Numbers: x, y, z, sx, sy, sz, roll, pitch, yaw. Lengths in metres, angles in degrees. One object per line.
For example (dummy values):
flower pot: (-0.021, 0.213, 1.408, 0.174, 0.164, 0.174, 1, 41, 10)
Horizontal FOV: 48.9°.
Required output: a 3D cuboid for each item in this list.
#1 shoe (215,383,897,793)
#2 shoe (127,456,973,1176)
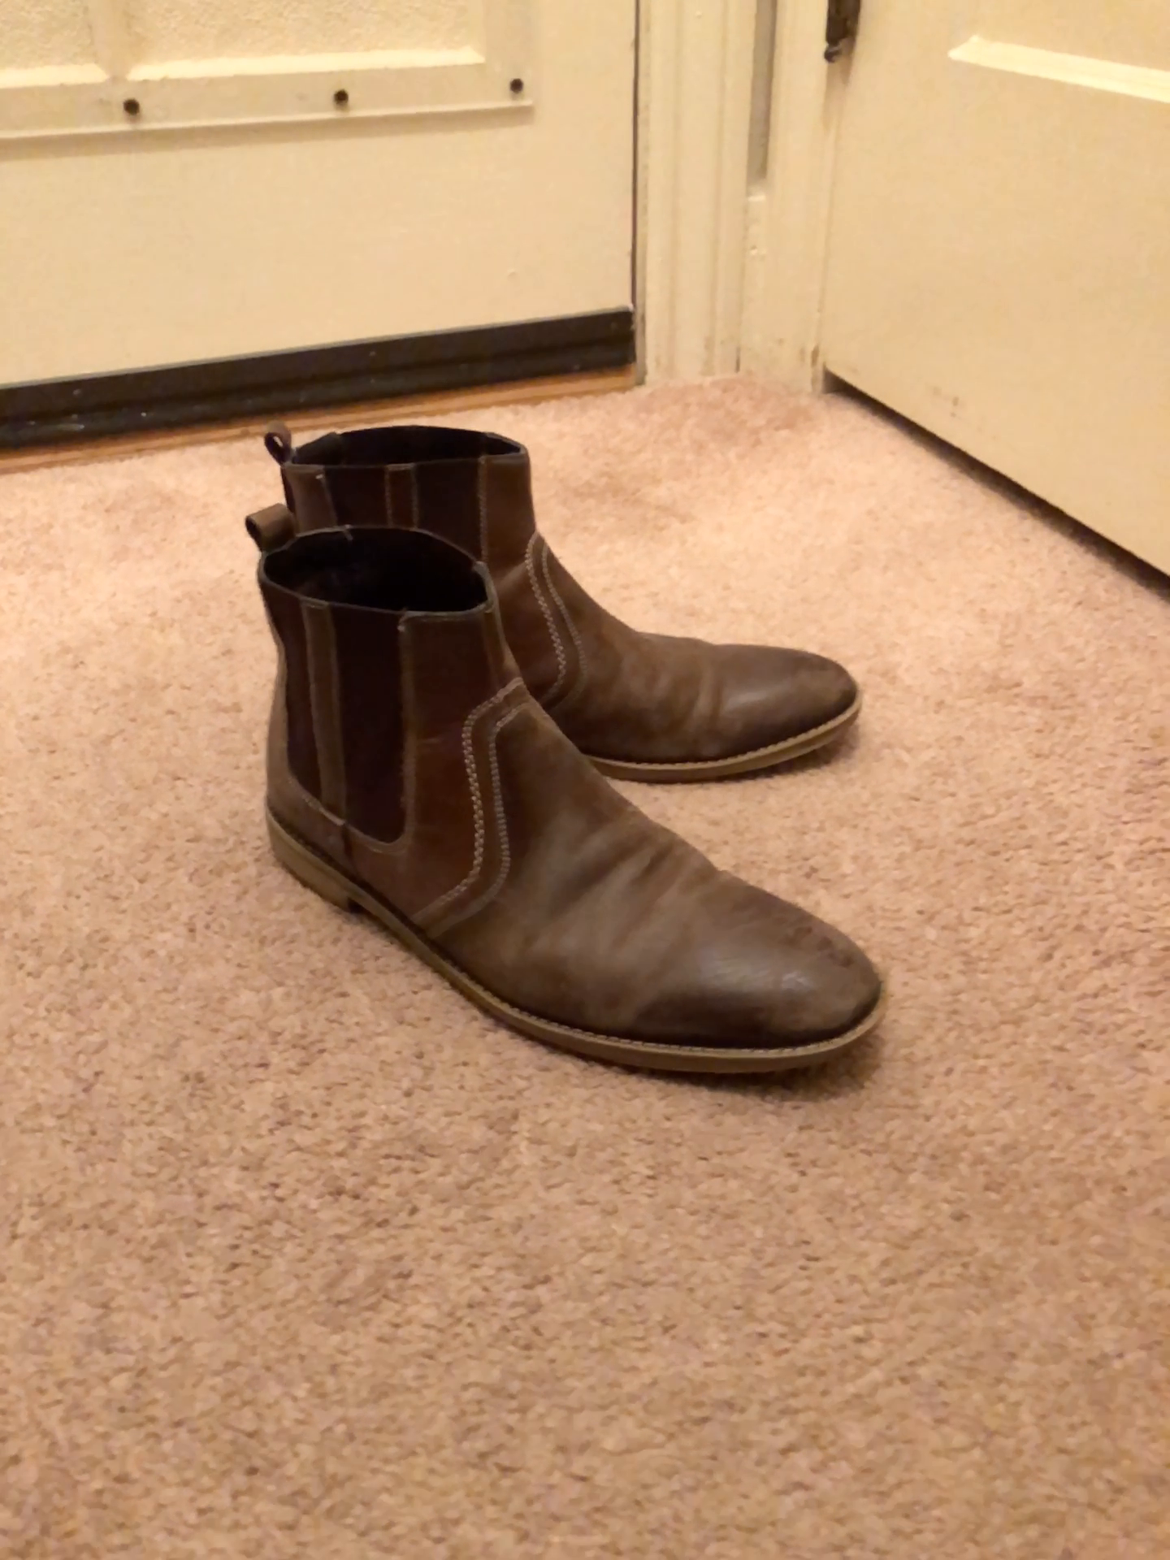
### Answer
shoe: (-0.009, -0.100, 0.651, 0.298, 0.158, 0.119, 3, 35, 5)
shoe: (-0.023, -0.004, 0.514, 0.298, 0.158, 0.119, 22, 41, 29)
